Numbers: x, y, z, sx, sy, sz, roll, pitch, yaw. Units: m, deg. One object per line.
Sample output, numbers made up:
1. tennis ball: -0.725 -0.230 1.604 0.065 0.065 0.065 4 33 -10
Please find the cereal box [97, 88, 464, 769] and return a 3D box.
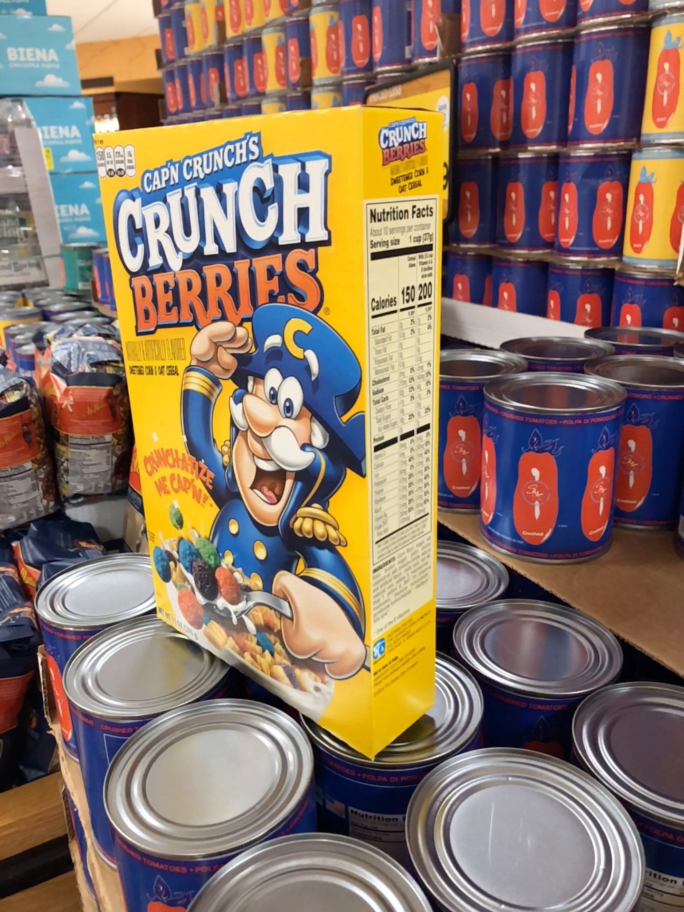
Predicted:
1. cereal box: -0.034 -0.019 0.398 0.060 0.298 0.190 -21 27 -41
